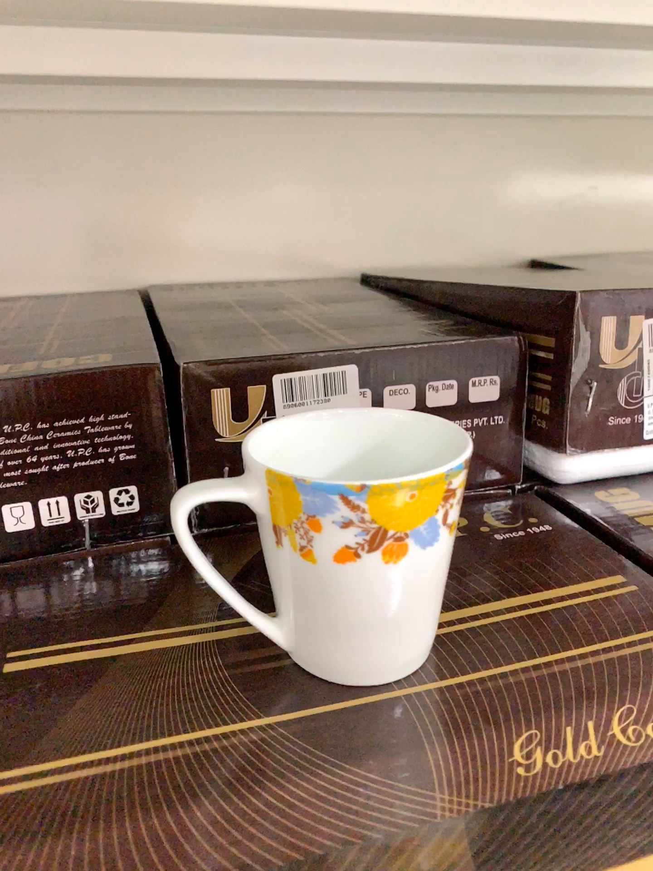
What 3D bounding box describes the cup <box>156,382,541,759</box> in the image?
[{"bbox_3d":[0.001,0.031,0.200,0.090,0.070,0.070,-7,19,-15],"label":"cup"}]
